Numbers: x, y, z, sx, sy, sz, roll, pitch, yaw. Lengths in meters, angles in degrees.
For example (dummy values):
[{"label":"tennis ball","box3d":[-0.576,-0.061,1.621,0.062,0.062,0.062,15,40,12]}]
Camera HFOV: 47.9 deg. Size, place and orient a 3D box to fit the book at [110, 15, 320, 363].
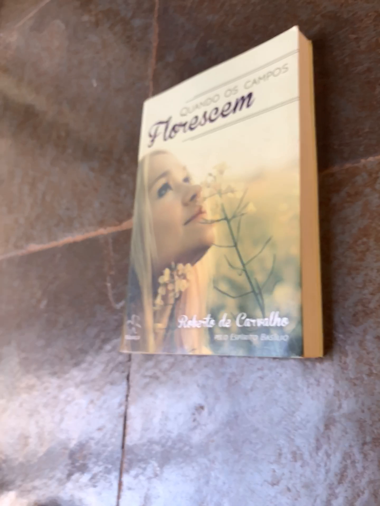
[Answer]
[{"label":"book","box3d":[0.011,-0.038,0.317,0.161,0.022,0.225,-10,70,40]}]
